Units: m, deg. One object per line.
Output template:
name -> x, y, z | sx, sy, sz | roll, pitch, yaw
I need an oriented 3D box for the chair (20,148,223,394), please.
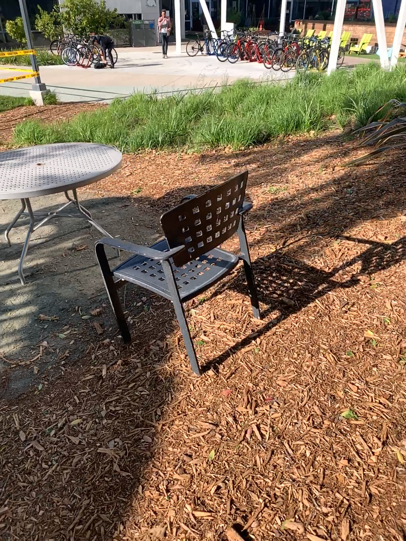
chair -> -0.290, -0.031, 1.670 | 0.502, 0.716, 0.521 | 27, 42, 36
